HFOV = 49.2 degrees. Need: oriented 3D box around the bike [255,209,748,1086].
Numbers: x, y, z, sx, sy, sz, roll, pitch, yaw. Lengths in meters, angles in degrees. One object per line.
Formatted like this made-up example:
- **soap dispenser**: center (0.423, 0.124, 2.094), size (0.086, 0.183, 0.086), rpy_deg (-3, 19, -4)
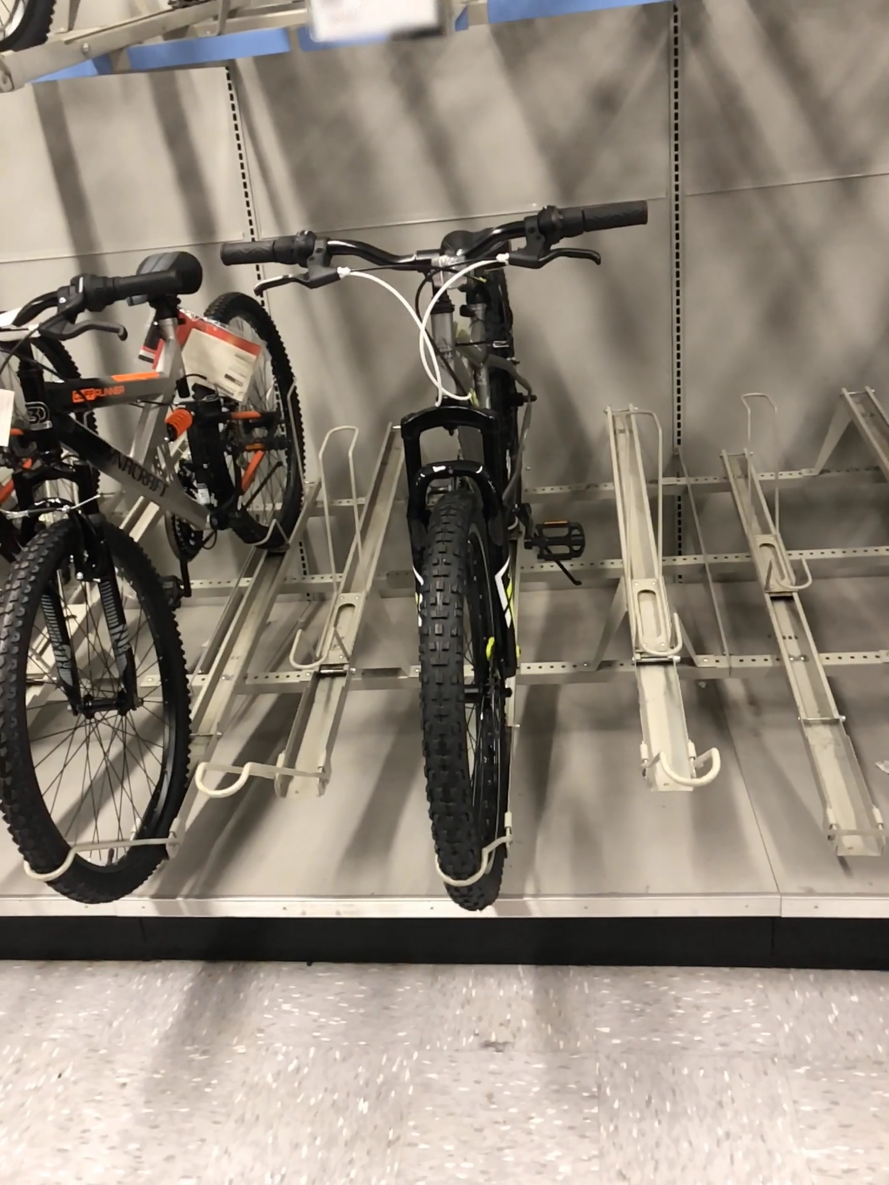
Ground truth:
- **bike**: center (0.174, -0.143, 2.012), size (0.607, 0.729, 1.726), rpy_deg (-3, 32, 9)
